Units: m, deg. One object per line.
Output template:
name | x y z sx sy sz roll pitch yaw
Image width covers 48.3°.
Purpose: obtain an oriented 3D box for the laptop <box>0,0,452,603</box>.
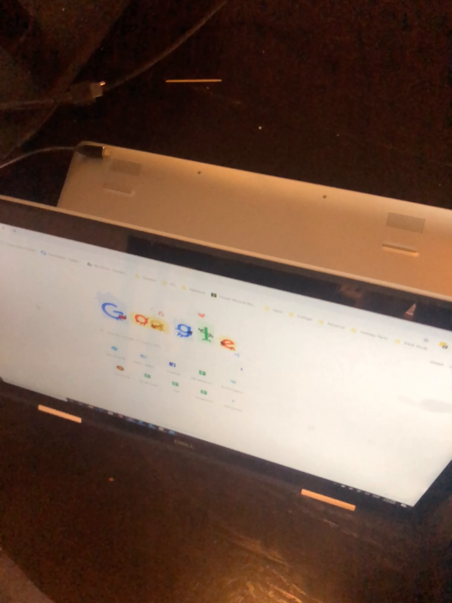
laptop | -0.020 -0.009 0.356 0.419 0.233 0.267 15 84 13
